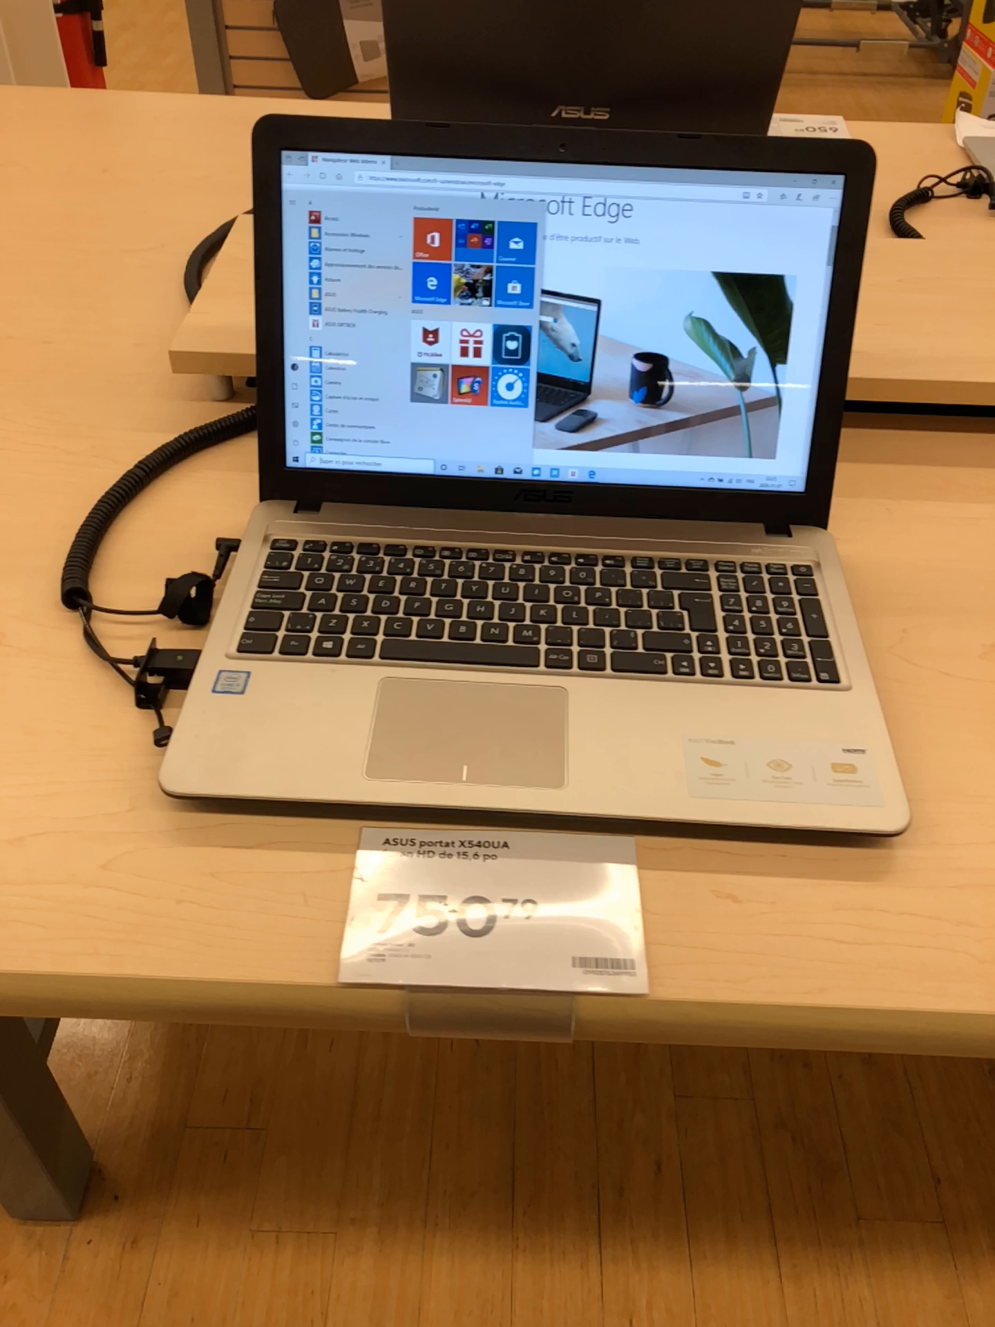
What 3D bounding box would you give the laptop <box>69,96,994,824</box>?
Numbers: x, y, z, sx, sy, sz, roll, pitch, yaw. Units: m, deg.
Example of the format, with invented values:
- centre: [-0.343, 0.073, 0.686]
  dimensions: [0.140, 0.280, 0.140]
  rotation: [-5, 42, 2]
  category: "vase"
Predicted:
- centre: [0.025, -0.134, 0.631]
  dimensions: [0.383, 0.215, 0.361]
  rotation: [3, 46, 0]
  category: "laptop"
